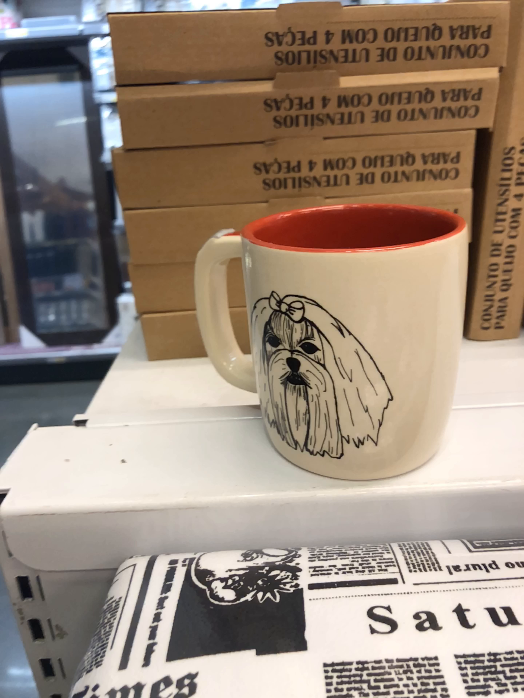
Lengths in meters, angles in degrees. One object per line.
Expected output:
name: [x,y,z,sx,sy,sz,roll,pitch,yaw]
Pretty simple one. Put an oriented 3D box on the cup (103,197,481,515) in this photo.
cup: [0.018,-0.009,0.242,0.120,0.089,0.091,7,25,24]
